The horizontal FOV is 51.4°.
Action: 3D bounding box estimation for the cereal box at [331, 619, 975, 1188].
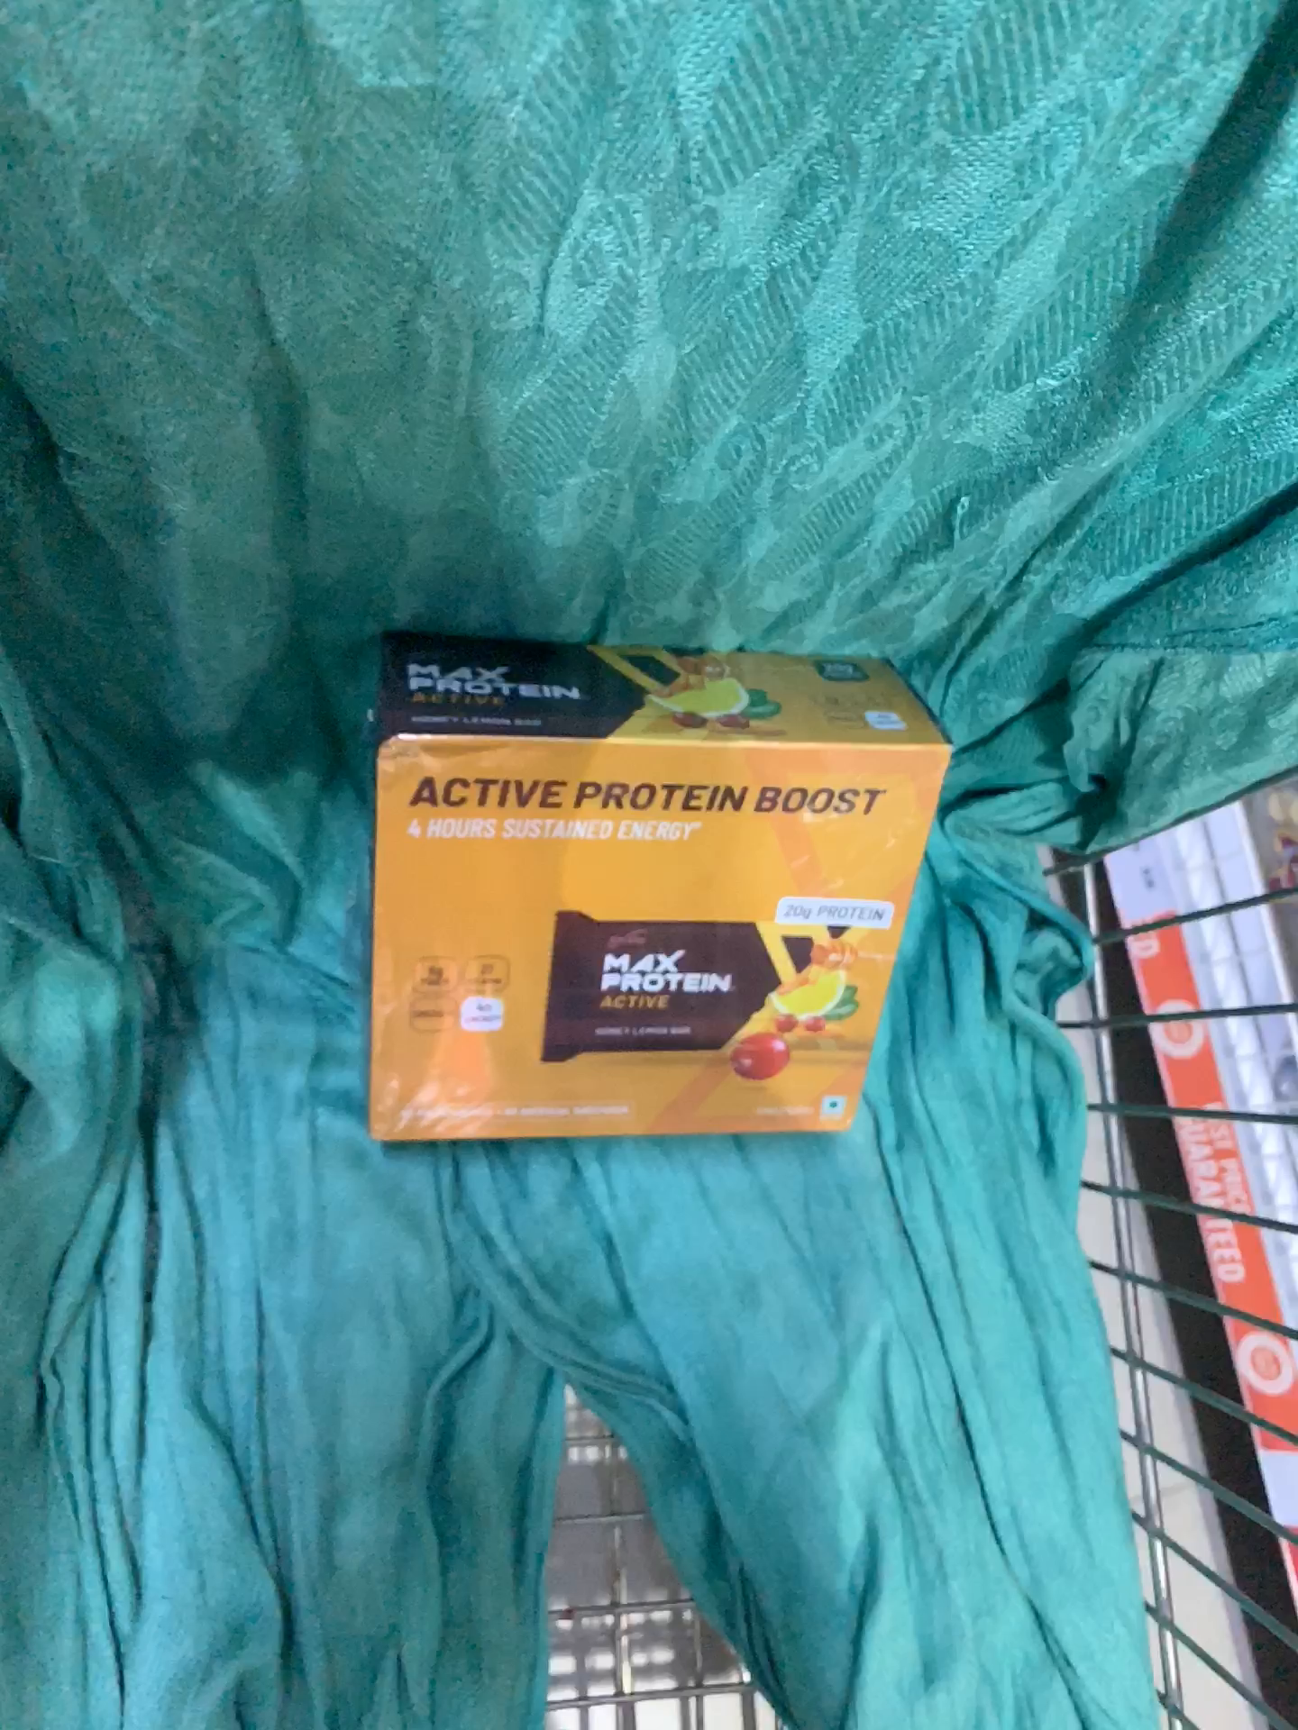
[{"bbox_3d":[-0.009,0.012,0.397,0.160,0.080,0.140,1,119,-11],"label":"cereal box"}]
